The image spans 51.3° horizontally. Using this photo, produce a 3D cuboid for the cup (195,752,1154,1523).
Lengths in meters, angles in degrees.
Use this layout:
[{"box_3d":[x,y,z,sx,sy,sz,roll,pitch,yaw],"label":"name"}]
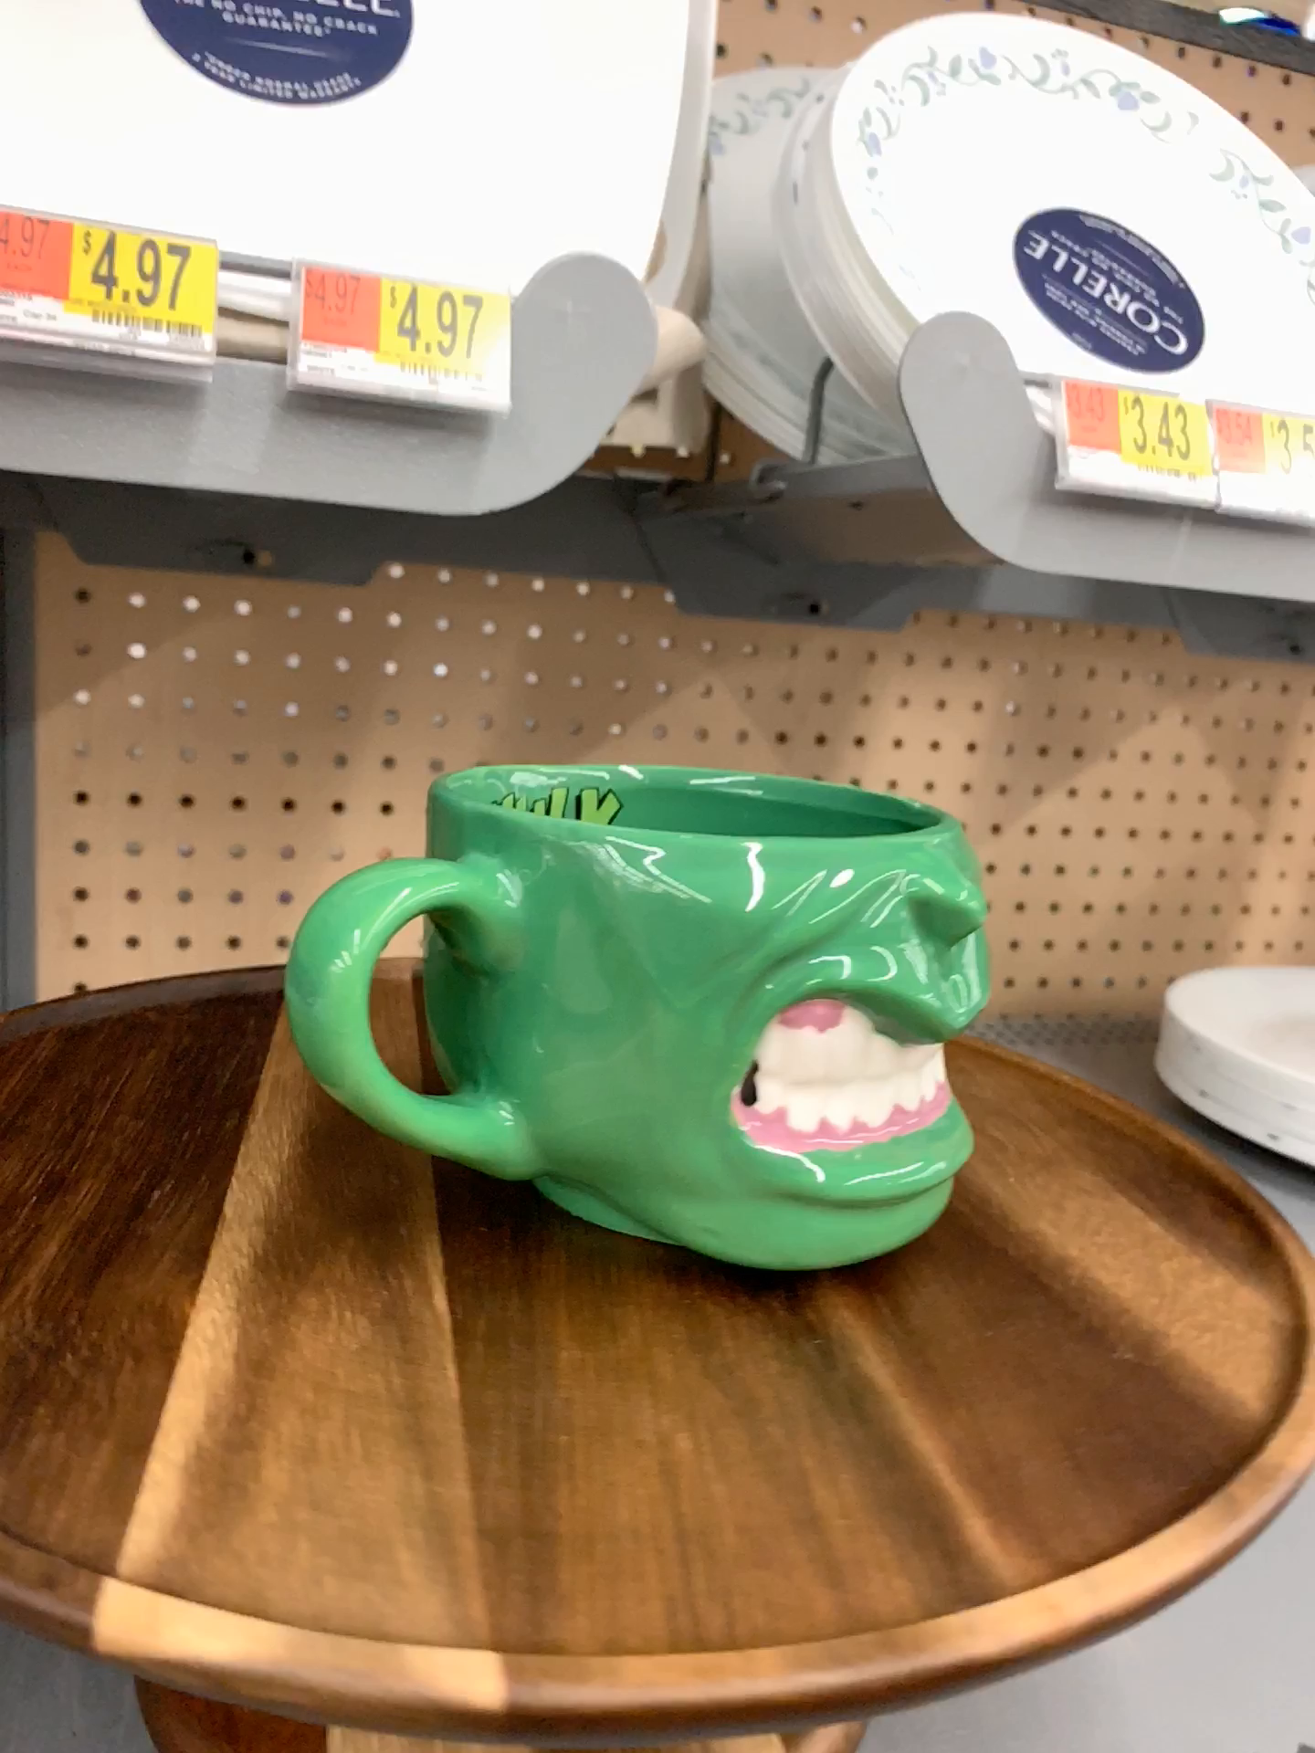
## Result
[{"box_3d":[0.003,0.030,0.282,0.130,0.090,0.140,5,11,-1],"label":"cup"}]
